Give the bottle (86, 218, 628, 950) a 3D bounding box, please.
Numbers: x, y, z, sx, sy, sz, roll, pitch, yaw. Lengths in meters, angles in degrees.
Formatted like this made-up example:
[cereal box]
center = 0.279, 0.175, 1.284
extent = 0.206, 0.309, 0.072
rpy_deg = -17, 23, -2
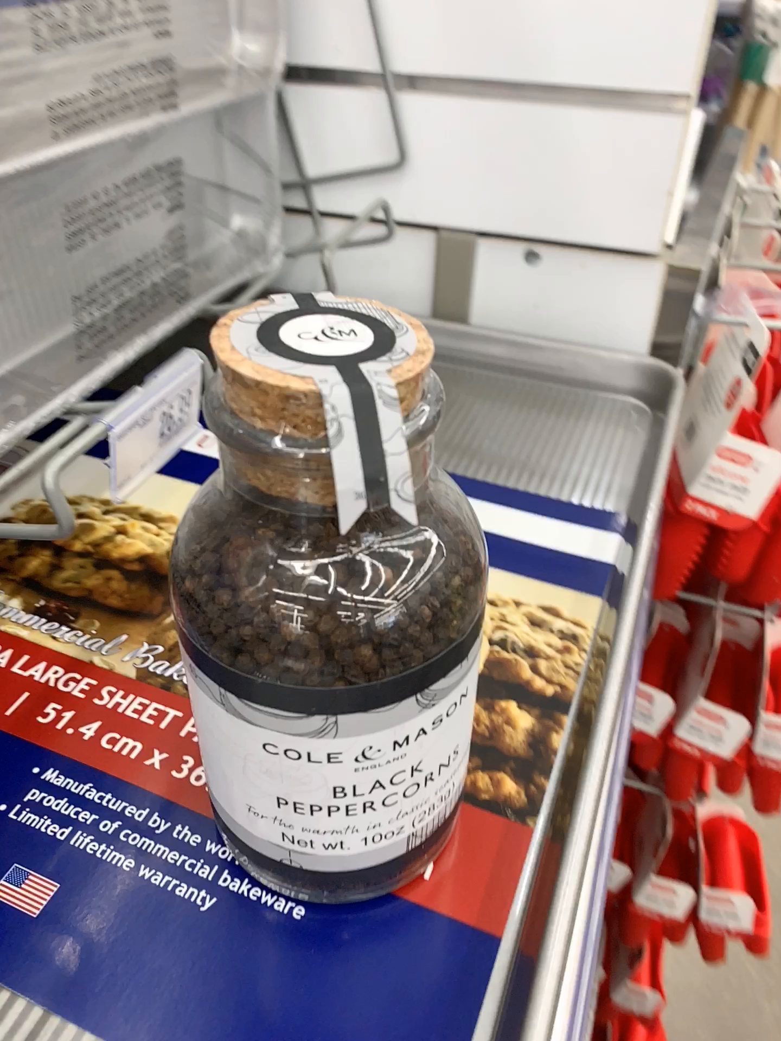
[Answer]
[bottle]
center = -0.015, 0.019, 0.214
extent = 0.090, 0.159, 0.090
rpy_deg = 1, 37, 0
